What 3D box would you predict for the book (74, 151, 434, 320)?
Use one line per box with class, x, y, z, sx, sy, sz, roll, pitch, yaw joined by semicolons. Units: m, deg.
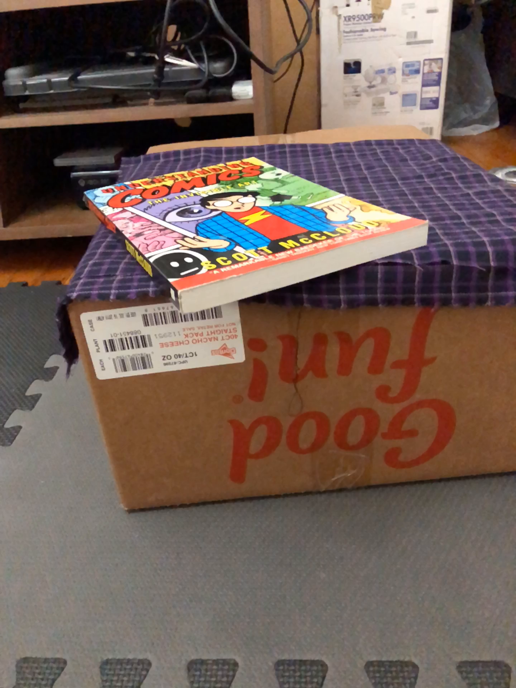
book;-0.027;-0.102;0.433;0.170;0.020;0.271;-17;32;-21
